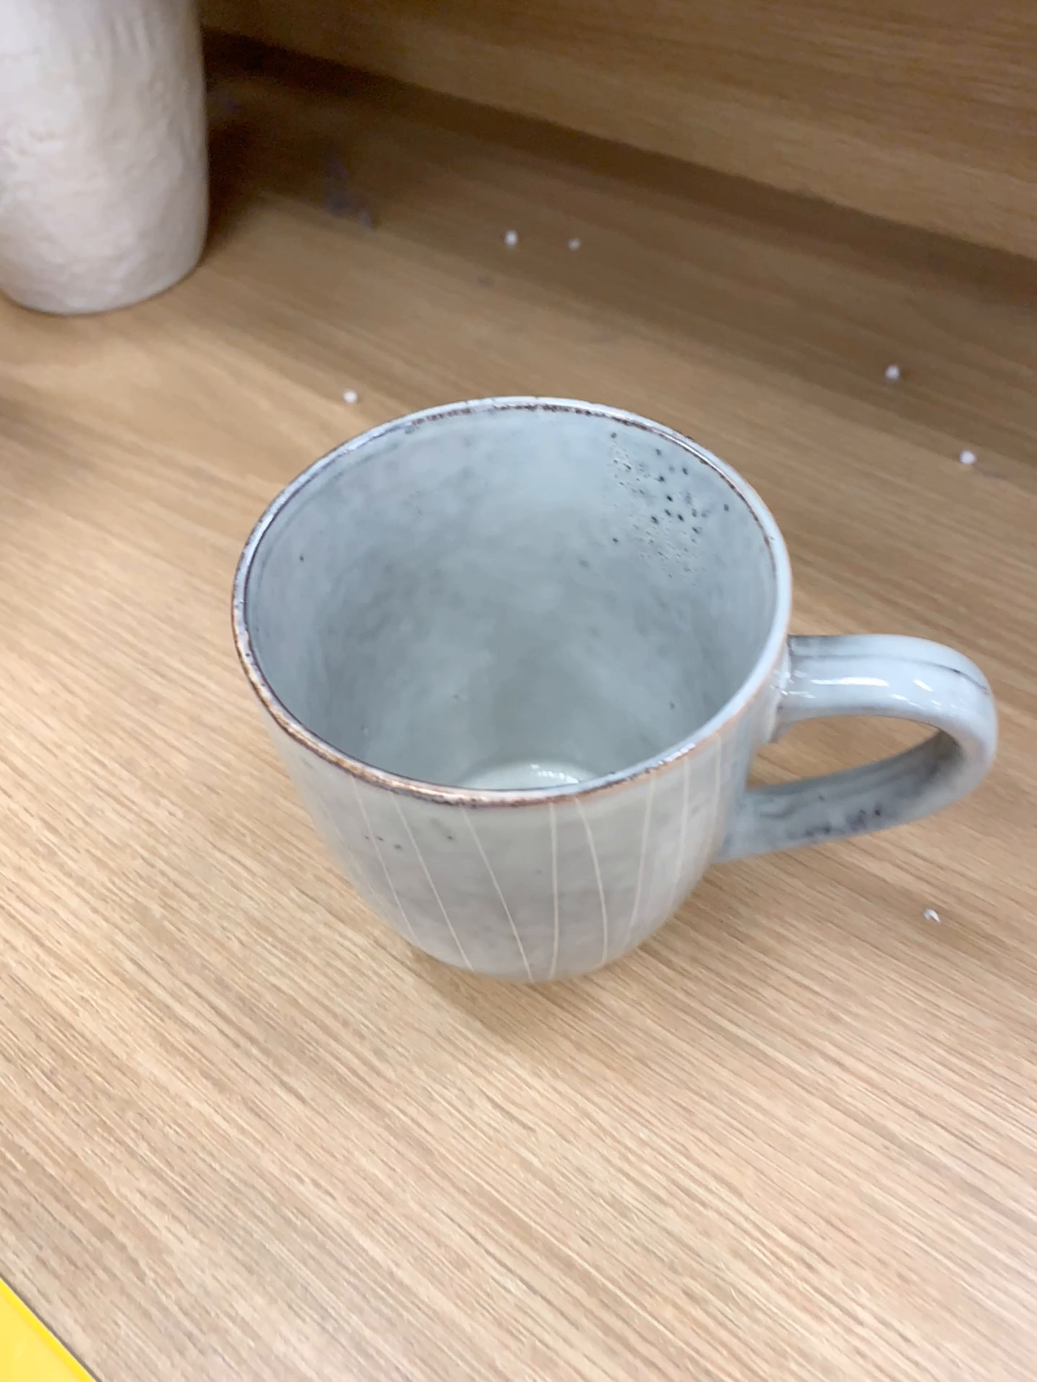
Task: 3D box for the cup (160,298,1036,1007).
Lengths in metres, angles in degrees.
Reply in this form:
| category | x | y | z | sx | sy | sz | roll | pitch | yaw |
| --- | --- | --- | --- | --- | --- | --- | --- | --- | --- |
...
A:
| category | x | y | z | sx | sy | sz | roll | pitch | yaw |
| --- | --- | --- | --- | --- | --- | --- | --- | --- | --- |
| cup | 0.020 | -0.008 | 0.230 | 0.136 | 0.098 | 0.108 | 3 | 54 | 6 |
